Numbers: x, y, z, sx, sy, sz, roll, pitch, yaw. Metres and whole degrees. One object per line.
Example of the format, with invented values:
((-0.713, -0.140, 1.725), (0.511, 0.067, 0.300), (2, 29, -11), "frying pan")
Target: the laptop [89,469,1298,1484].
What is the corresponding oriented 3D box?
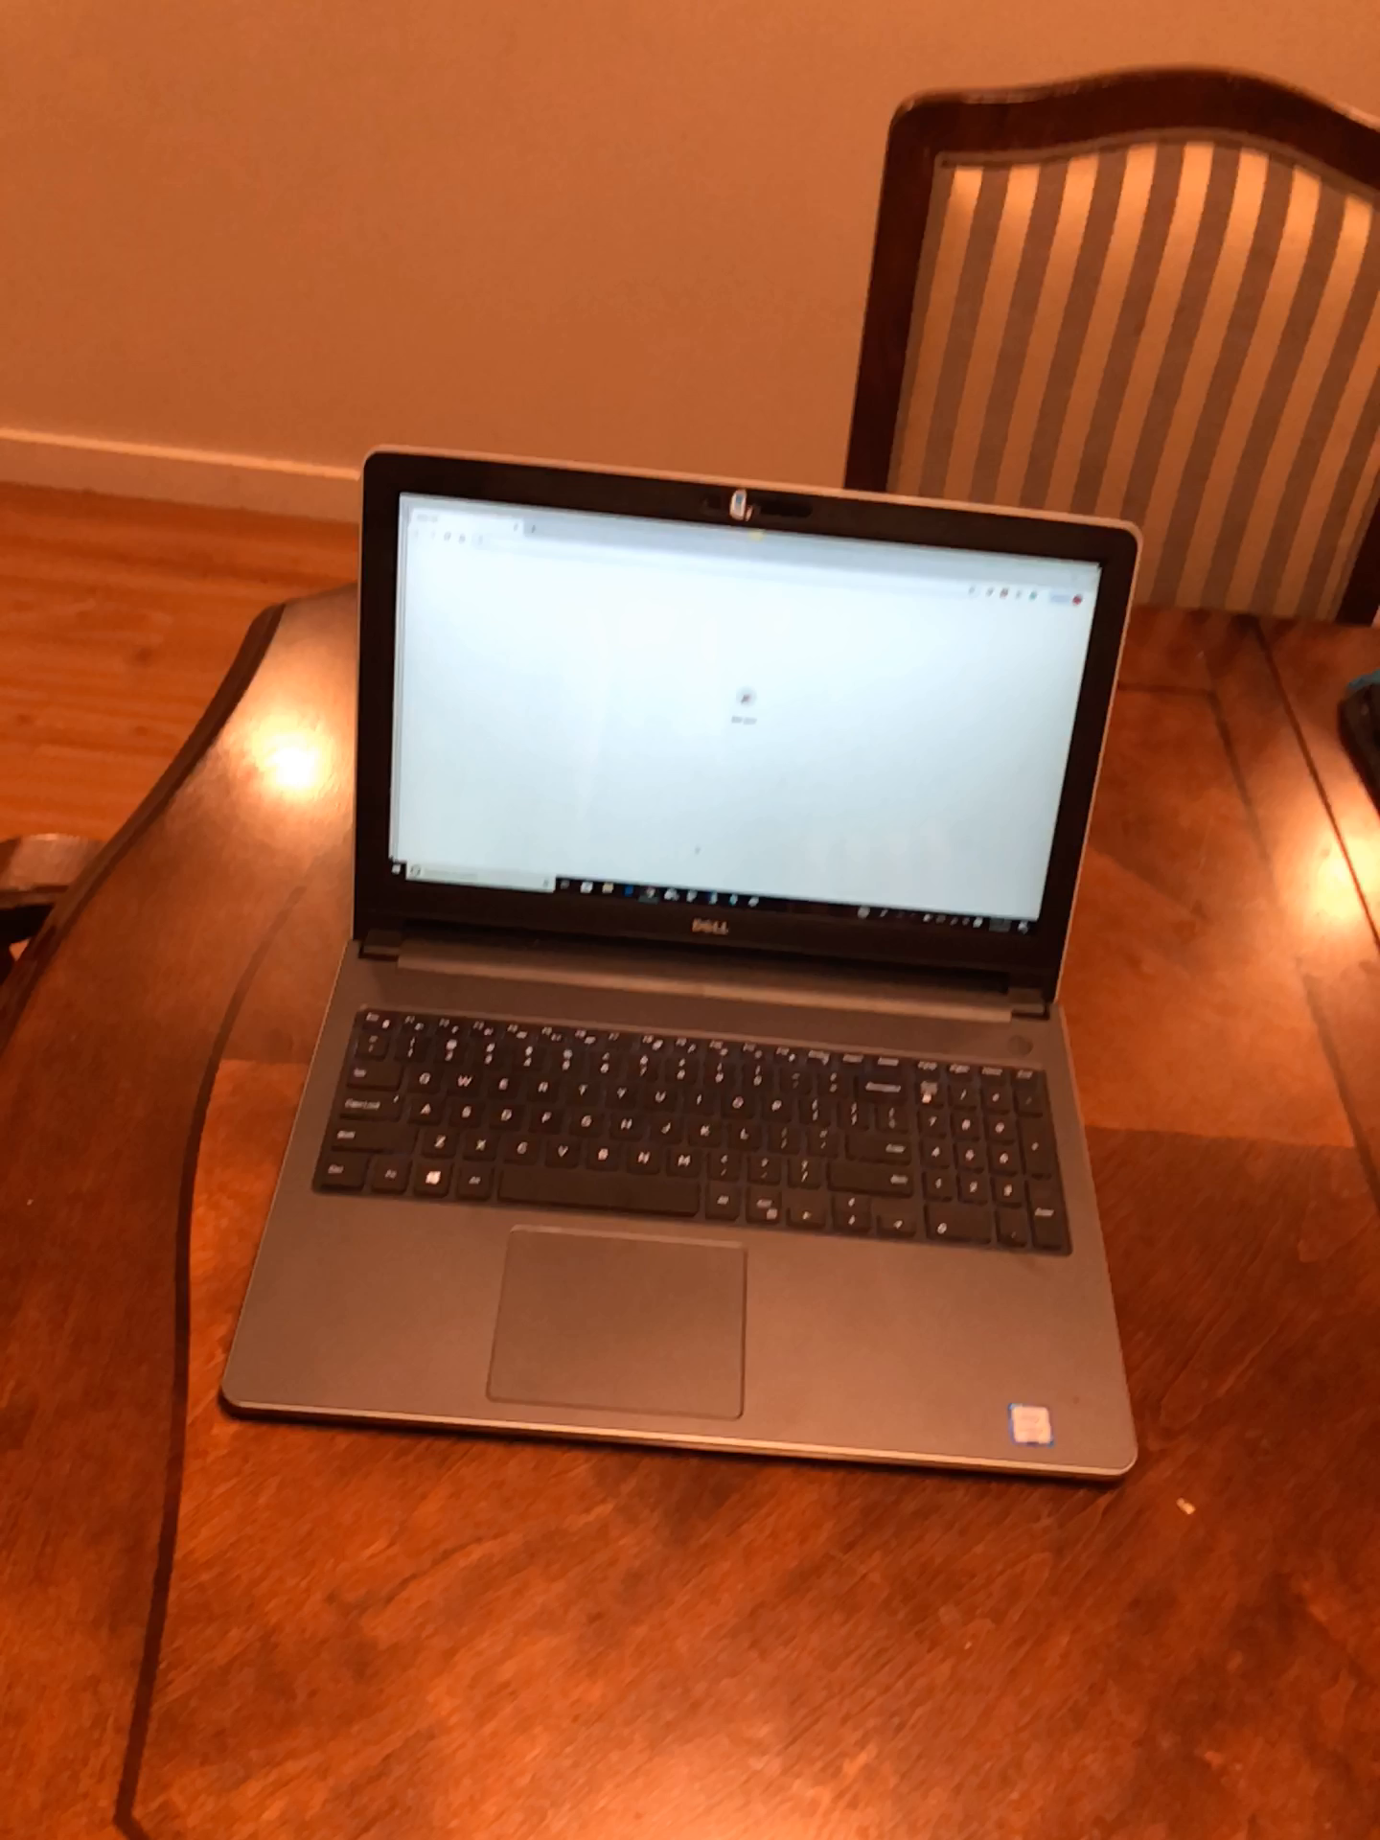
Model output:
((0.003, 0.009, 0.661), (0.369, 0.212, 0.362), (6, 46, -1), "laptop")
